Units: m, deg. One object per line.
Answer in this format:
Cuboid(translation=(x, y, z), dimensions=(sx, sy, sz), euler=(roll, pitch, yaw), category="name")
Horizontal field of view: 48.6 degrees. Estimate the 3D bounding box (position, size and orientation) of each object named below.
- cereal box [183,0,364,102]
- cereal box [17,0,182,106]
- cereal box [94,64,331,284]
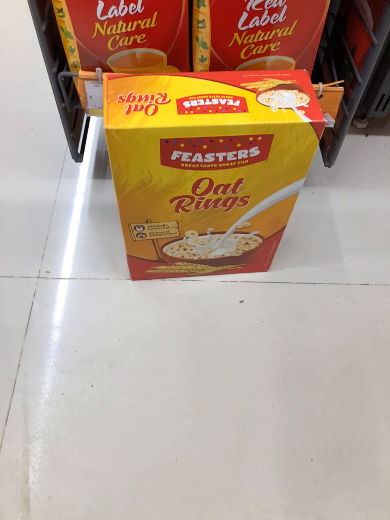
Cuboid(translation=(0.055, -0.234, 0.393), dimensions=(0.120, 0.149, 0.080), euler=(-4, 58, -6), category="cereal box")
Cuboid(translation=(-0.076, -0.244, 0.412), dimensions=(0.120, 0.169, 0.080), euler=(0, 58, -4), category="cereal box")
Cuboid(translation=(0.005, -0.066, 0.417), dimensions=(0.170, 0.219, 0.070), euler=(-4, 58, -6), category="cereal box")
